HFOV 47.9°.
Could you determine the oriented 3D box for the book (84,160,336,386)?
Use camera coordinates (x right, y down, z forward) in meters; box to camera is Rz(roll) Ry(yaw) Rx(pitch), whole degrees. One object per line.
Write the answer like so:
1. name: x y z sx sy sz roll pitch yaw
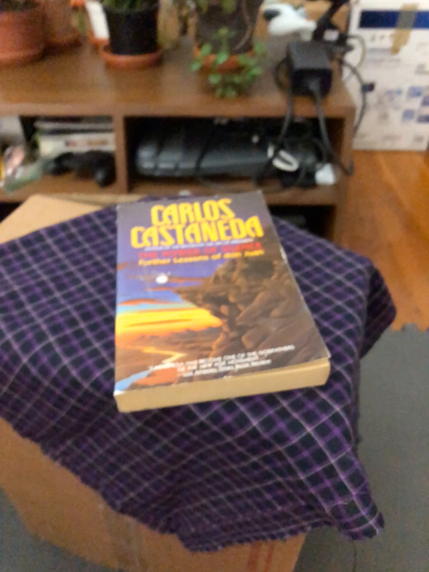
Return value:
1. book: -0.015 -0.029 0.373 0.150 0.020 0.221 -6 43 -5
